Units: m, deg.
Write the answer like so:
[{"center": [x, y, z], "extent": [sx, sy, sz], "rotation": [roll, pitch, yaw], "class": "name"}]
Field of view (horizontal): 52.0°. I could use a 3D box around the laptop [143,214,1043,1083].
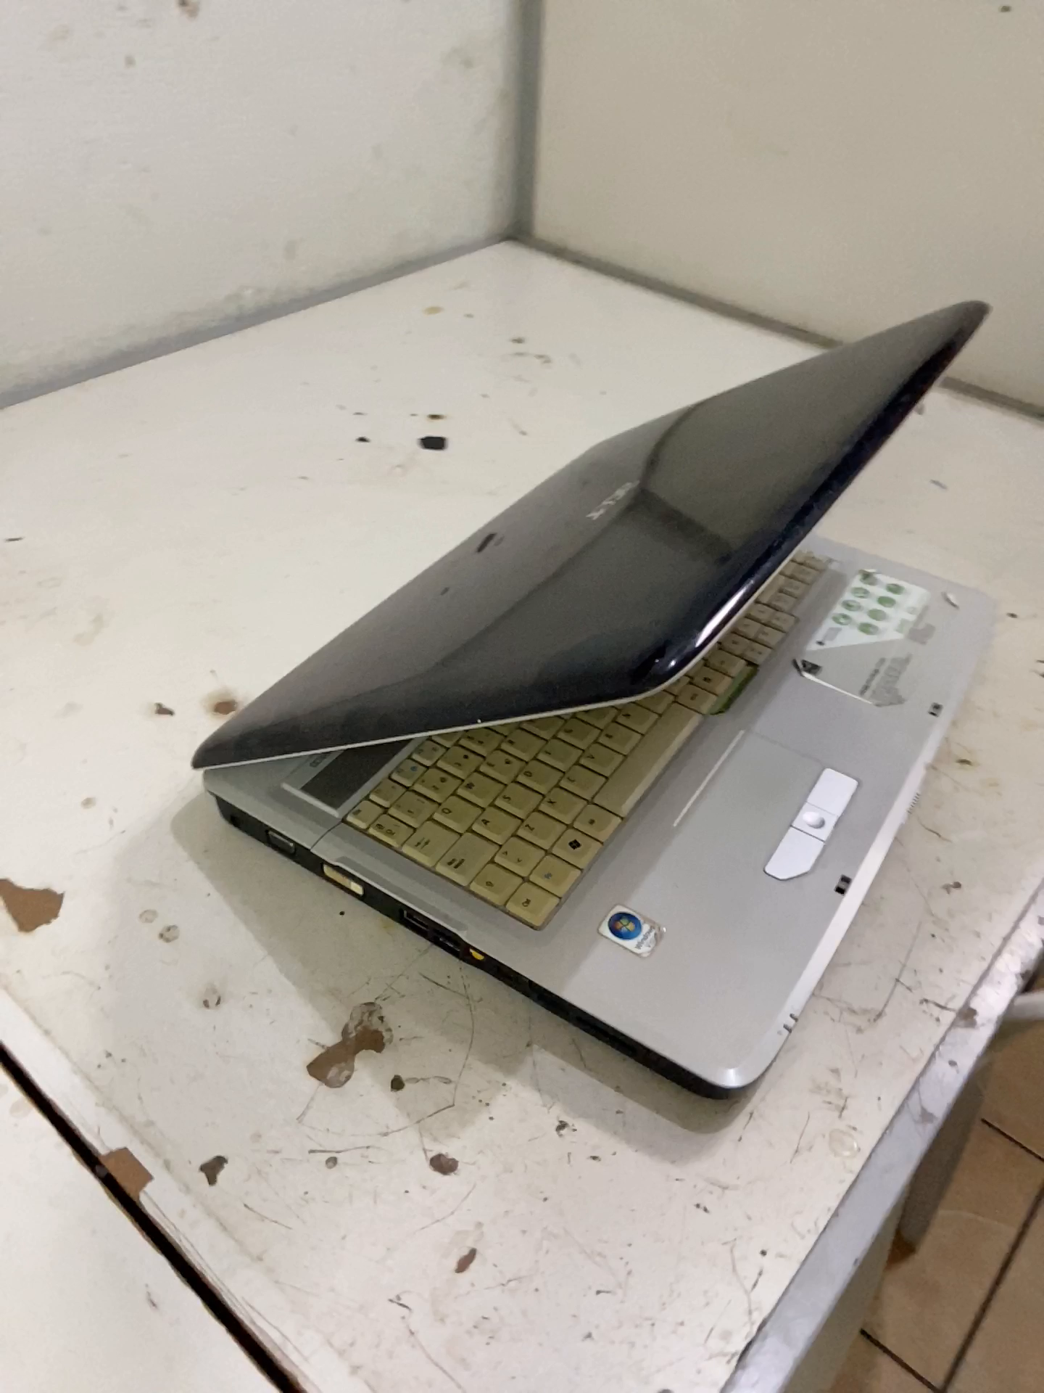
[{"center": [0.070, -0.076, 0.527], "extent": [0.278, 0.164, 0.382], "rotation": [24, 45, 24], "class": "laptop"}]
